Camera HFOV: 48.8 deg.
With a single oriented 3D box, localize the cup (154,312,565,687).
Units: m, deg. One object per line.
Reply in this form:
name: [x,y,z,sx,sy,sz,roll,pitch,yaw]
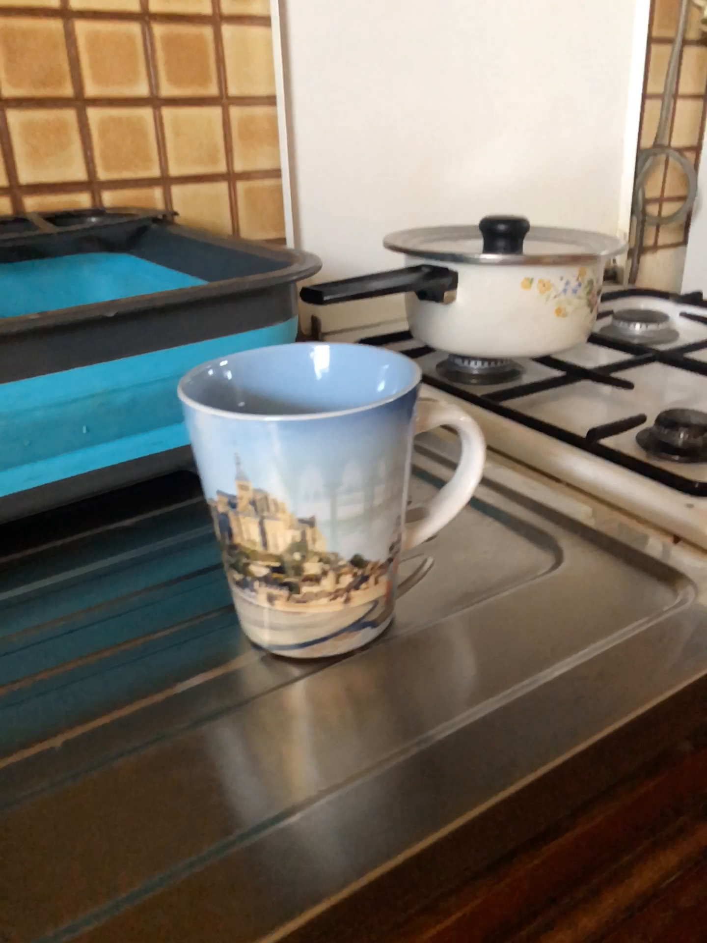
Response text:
cup: [-0.001,0.000,0.325,0.130,0.099,0.100,-12,26,-23]
